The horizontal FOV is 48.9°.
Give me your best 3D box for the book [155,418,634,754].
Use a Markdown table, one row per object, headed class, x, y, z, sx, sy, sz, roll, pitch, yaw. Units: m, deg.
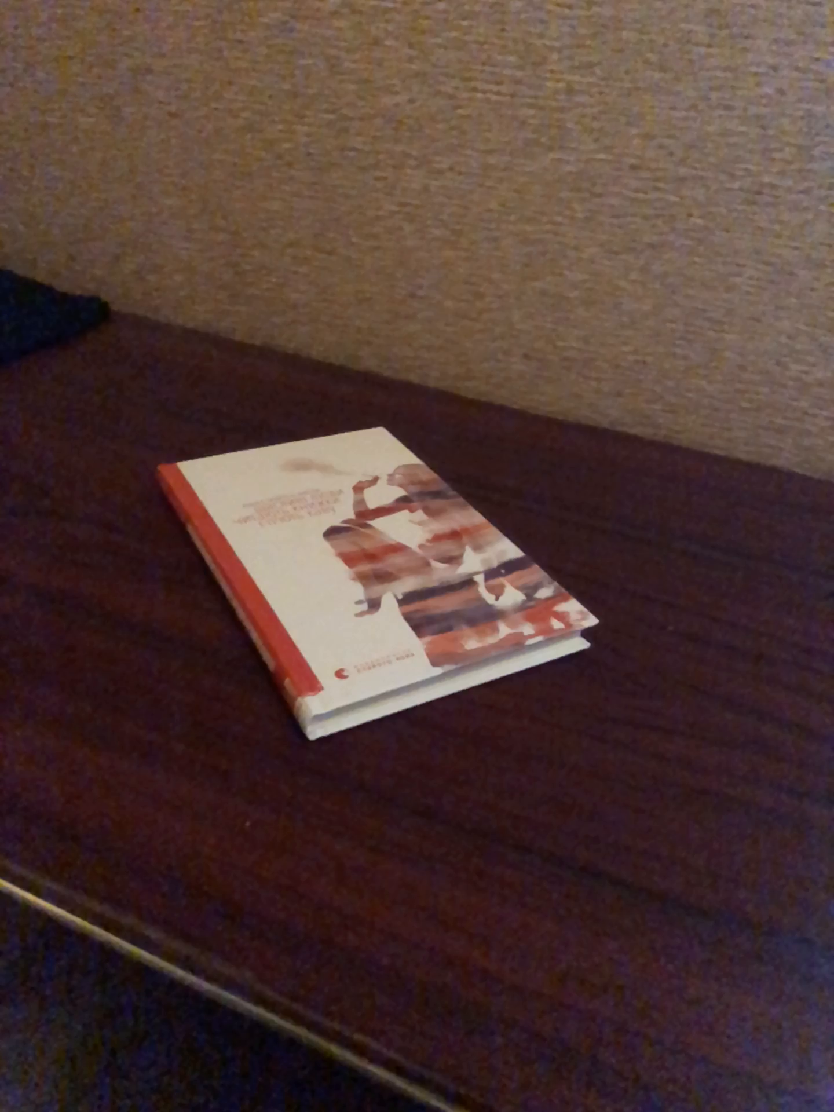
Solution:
| class | x | y | z | sx | sy | sz | roll | pitch | yaw |
| --- | --- | --- | --- | --- | --- | --- | --- | --- | --- |
| book | -0.025 | -0.005 | 0.464 | 0.150 | 0.020 | 0.228 | -14 | 37 | -26 |
